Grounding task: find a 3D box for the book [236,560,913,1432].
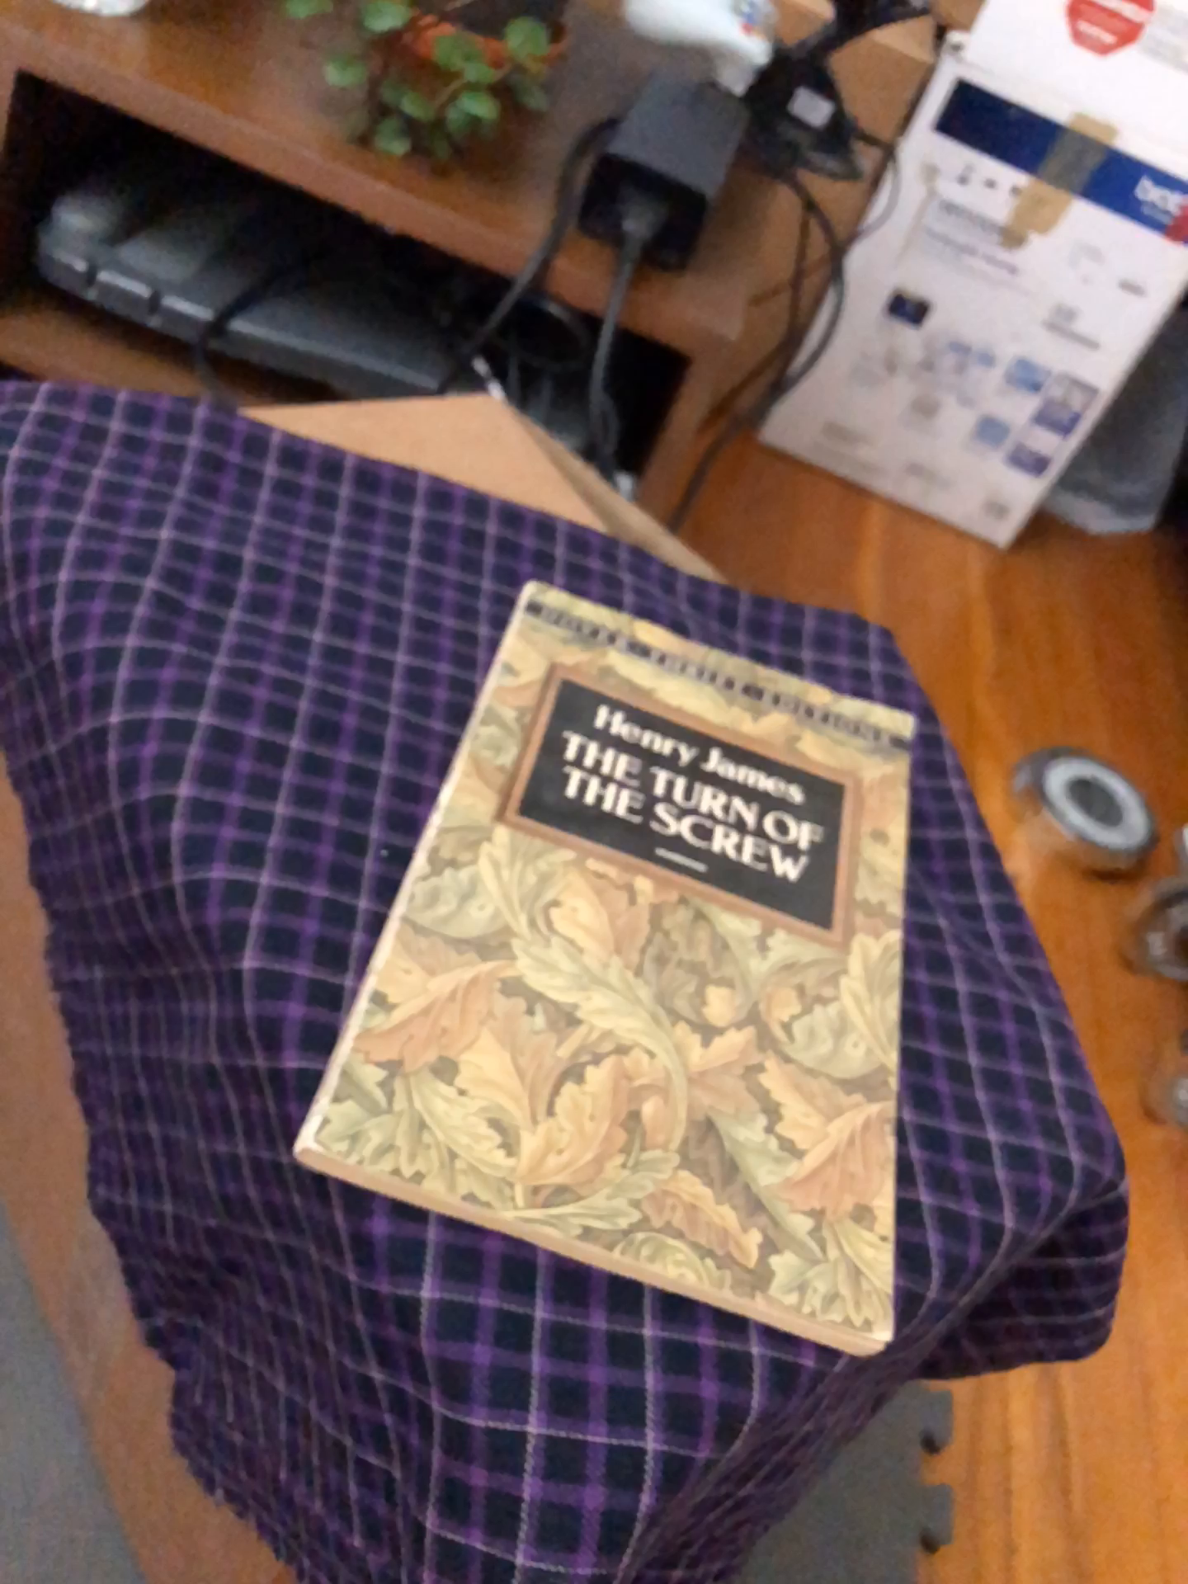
[{"bbox_3d":[0.016,0.030,0.345,0.140,0.010,0.221,21,44,-6],"label":"book"}]
